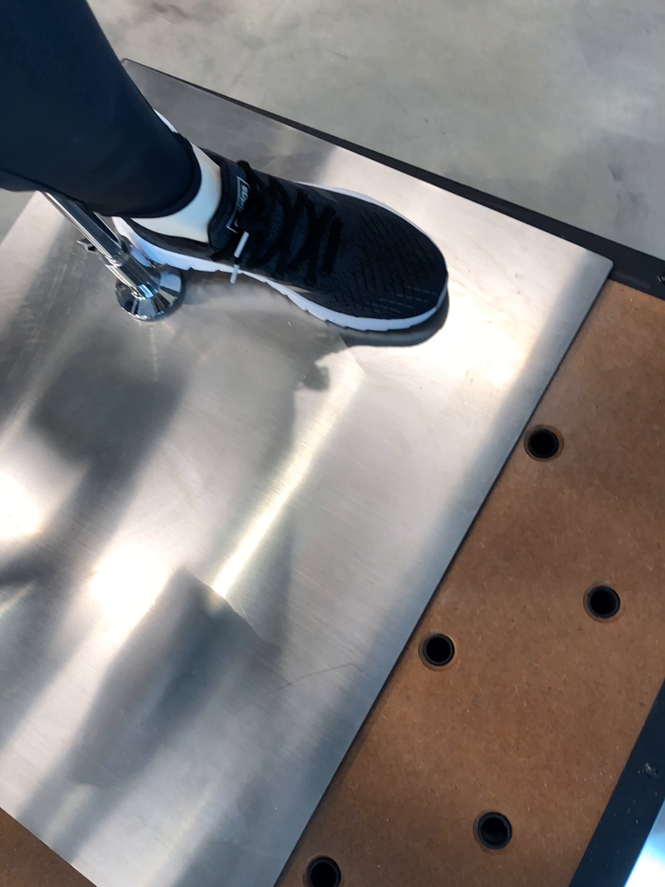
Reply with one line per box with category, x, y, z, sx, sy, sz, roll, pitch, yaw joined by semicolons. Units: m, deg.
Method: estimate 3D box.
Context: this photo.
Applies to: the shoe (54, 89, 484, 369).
shoe;-0.045;-0.161;0.571;0.290;0.100;0.110;18;89;7
